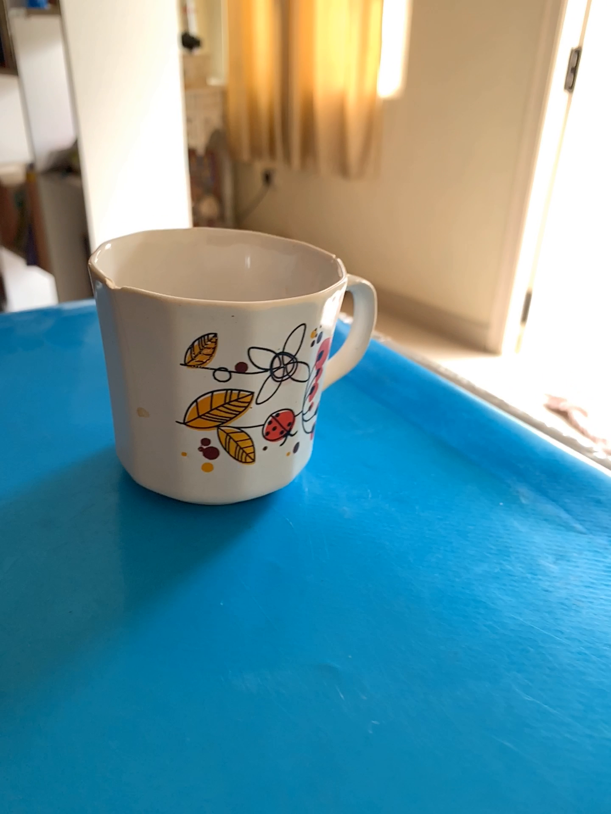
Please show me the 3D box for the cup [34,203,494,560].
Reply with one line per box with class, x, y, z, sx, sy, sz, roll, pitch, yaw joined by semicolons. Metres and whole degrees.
cup;-0.015;-0.016;0.182;0.100;0.060;0.070;-12;32;-23
